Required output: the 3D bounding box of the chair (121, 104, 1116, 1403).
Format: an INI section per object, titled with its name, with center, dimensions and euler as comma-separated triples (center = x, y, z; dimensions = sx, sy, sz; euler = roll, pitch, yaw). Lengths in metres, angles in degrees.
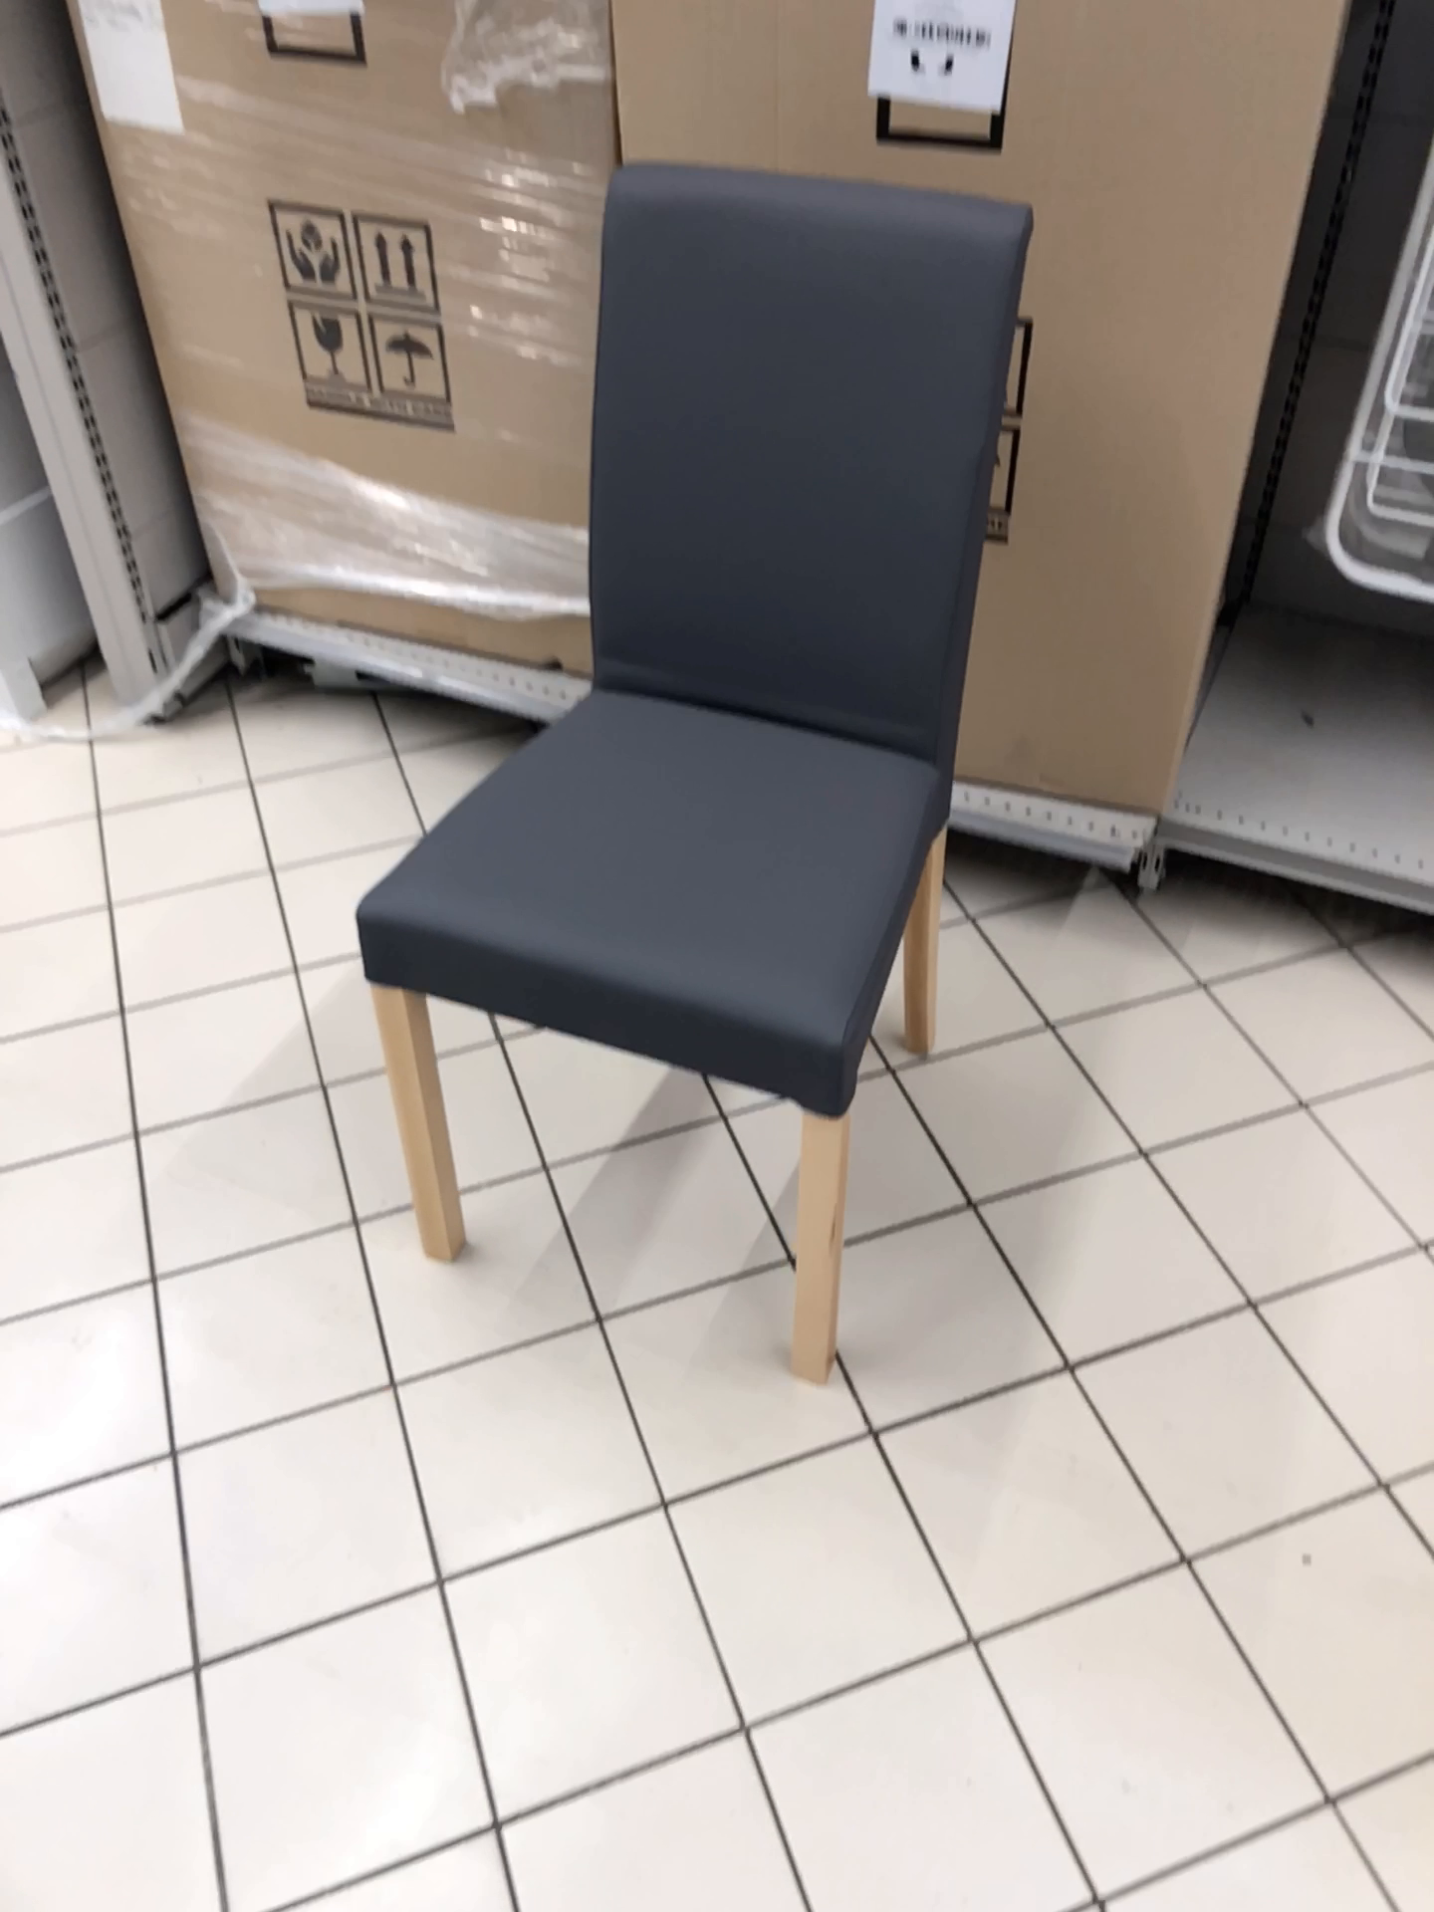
[chair]
center = -0.010, -0.161, 1.308
dimensions = 0.470, 0.825, 0.574
euler = 12, 44, 15
